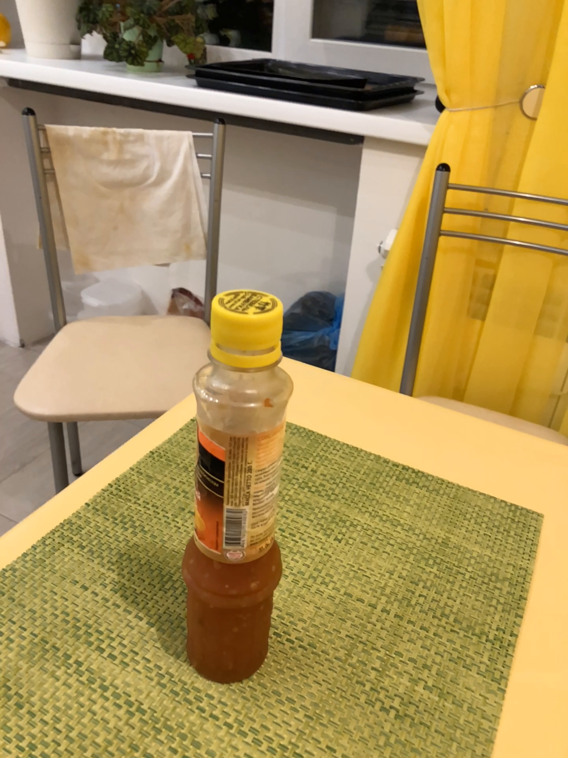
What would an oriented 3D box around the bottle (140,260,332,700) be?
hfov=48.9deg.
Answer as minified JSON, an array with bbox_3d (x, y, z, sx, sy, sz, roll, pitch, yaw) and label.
[{"bbox_3d":[-0.025,0.056,0.304,0.060,0.209,0.060,4,30,-2],"label":"bottle"}]
